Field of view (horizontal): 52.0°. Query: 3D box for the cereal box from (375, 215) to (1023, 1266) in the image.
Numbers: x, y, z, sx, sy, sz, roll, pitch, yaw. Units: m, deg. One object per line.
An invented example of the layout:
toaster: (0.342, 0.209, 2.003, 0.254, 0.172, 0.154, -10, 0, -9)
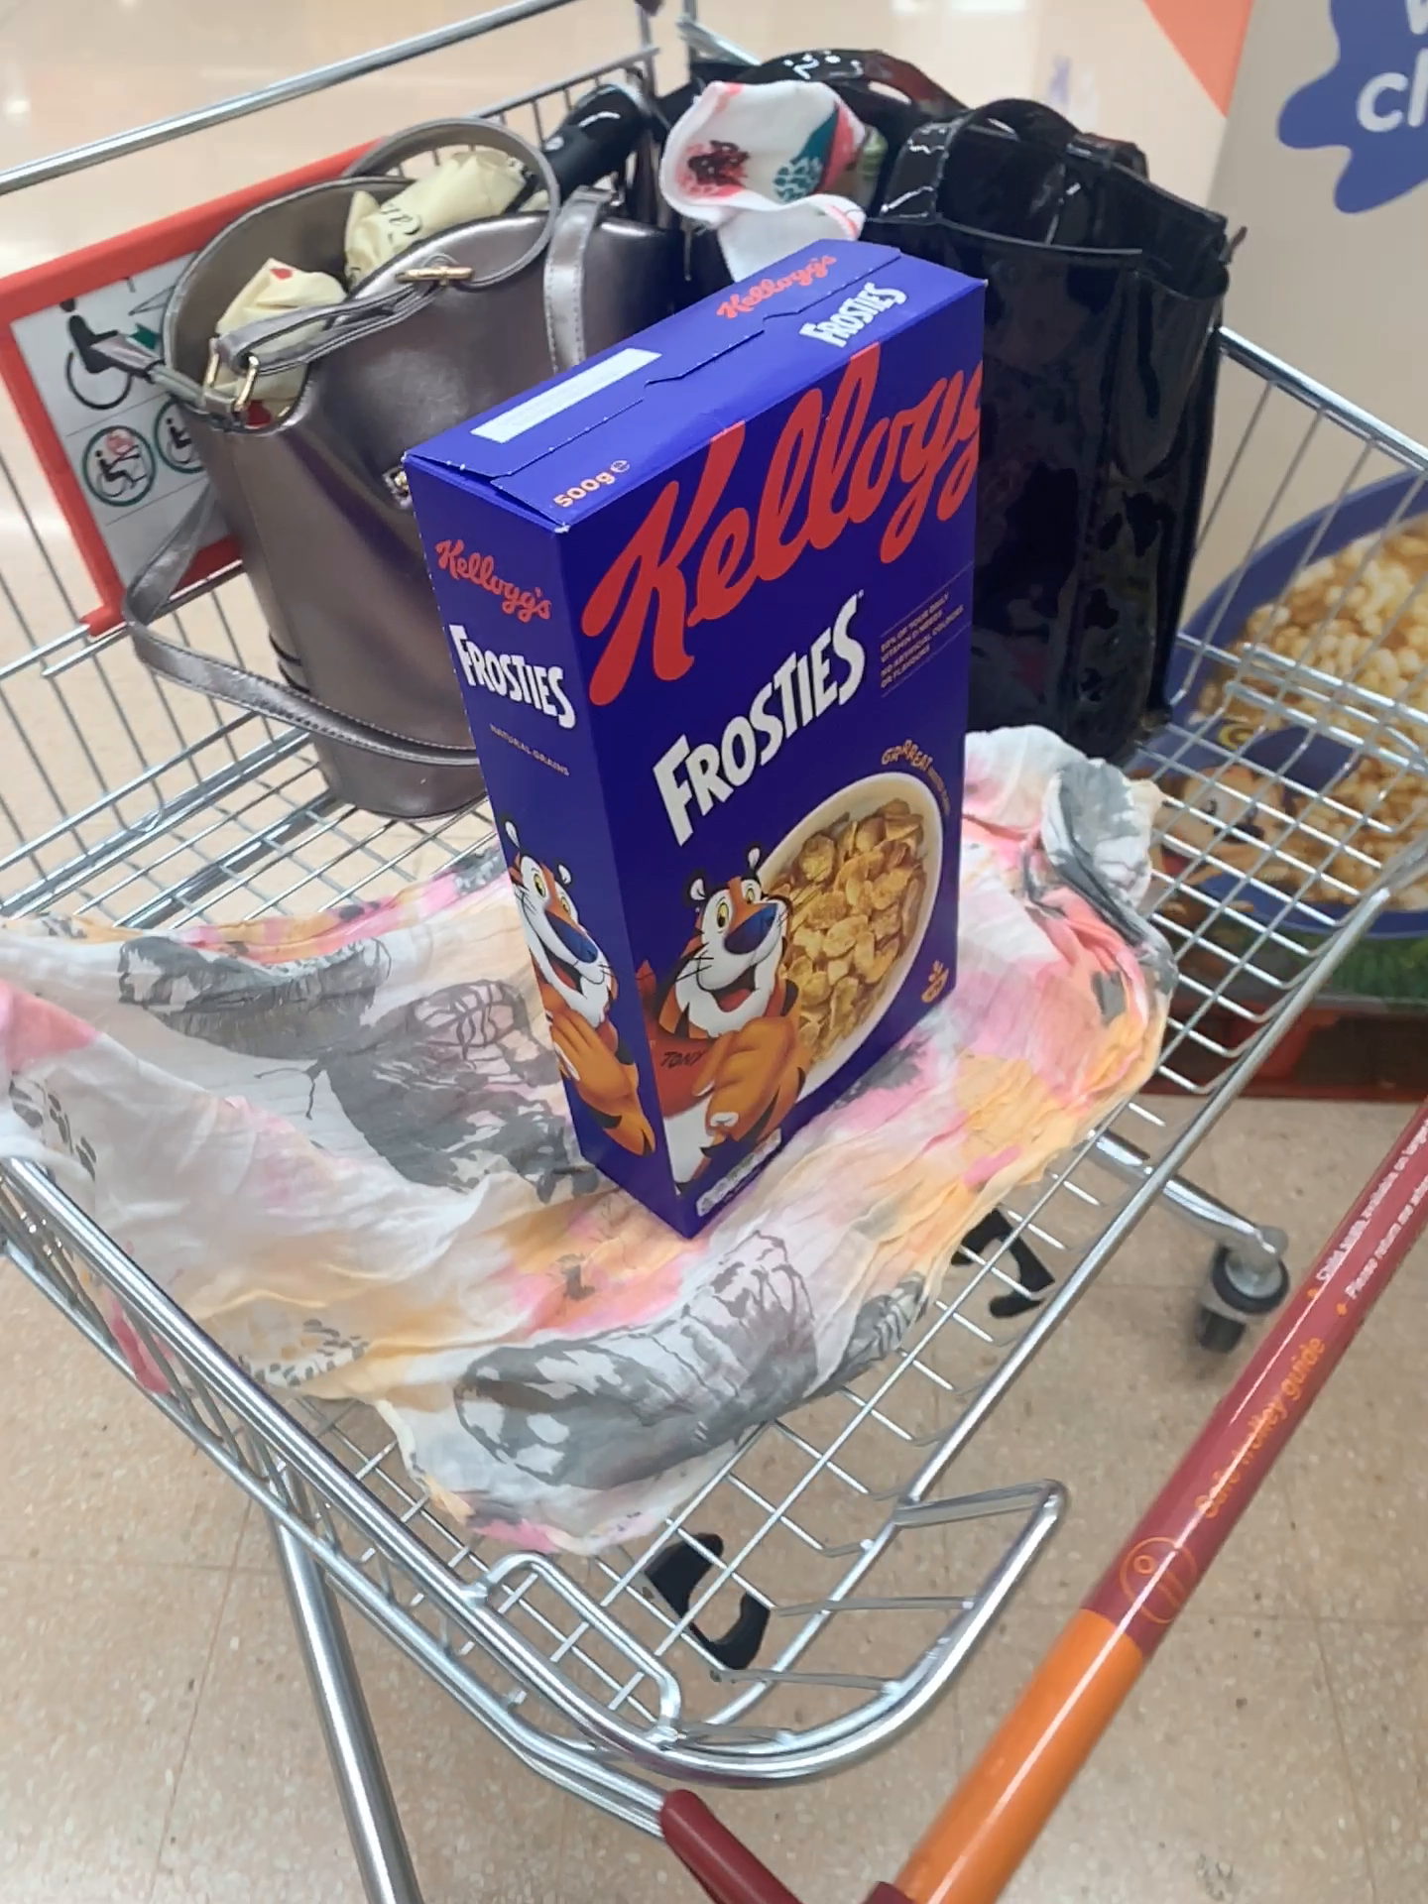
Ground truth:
cereal box: (0.016, -0.068, 0.566, 0.080, 0.337, 0.211, 29, 53, 32)
